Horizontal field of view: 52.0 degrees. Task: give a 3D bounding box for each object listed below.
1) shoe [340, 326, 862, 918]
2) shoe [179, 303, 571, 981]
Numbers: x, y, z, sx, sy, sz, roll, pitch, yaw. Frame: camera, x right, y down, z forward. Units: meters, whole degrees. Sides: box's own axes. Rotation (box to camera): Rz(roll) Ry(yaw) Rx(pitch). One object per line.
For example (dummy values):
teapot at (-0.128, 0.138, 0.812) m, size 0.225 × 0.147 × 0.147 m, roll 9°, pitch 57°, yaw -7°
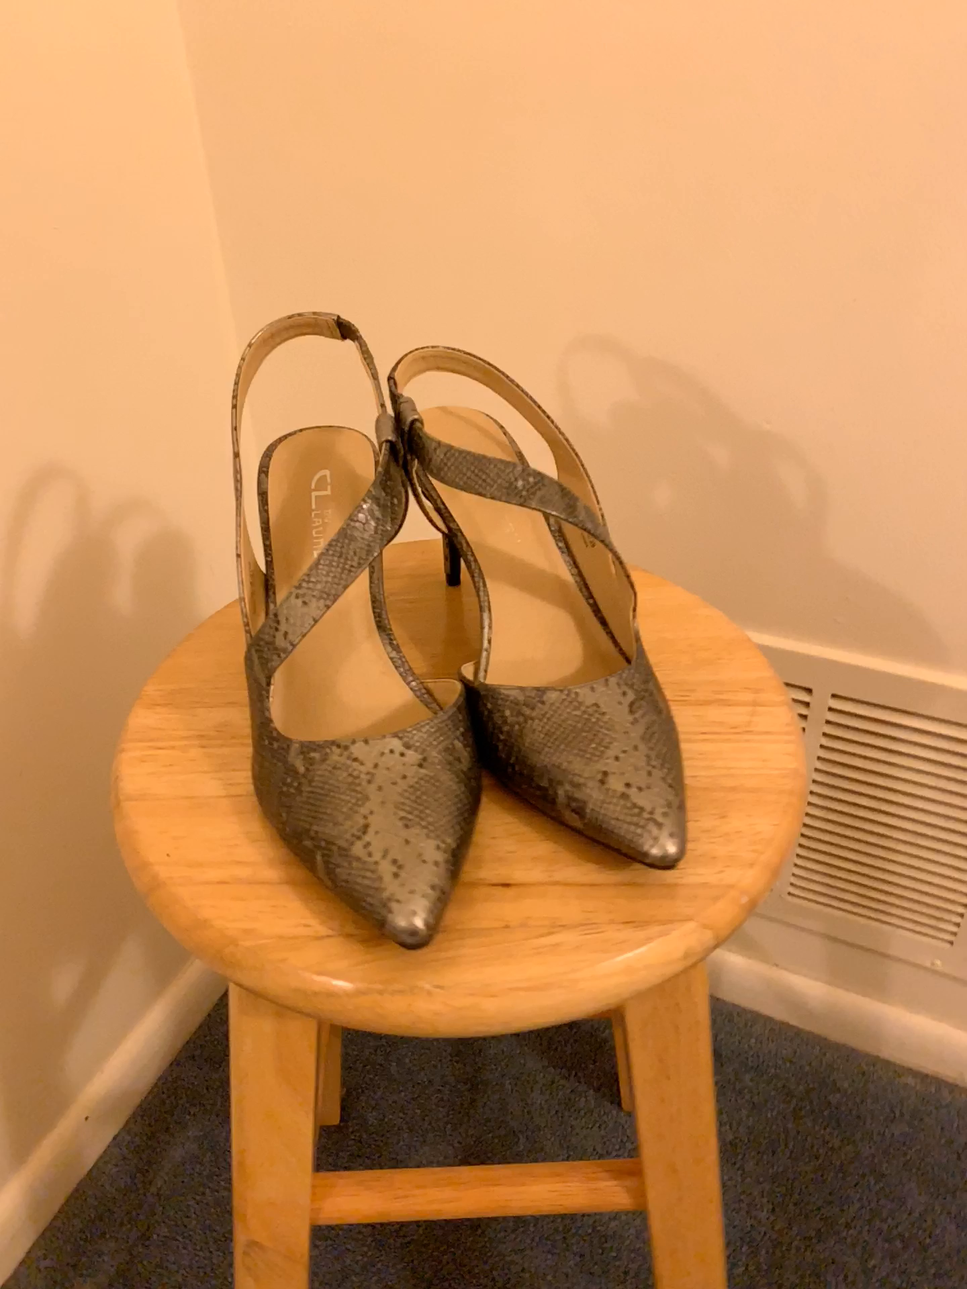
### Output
shoe at (0.023, -0.033, 0.405) m, size 0.102 × 0.106 × 0.251 m, roll -12°, pitch 37°, yaw -14°
shoe at (-0.057, -0.028, 0.394) m, size 0.100 × 0.124 × 0.271 m, roll -9°, pitch 37°, yaw -11°
